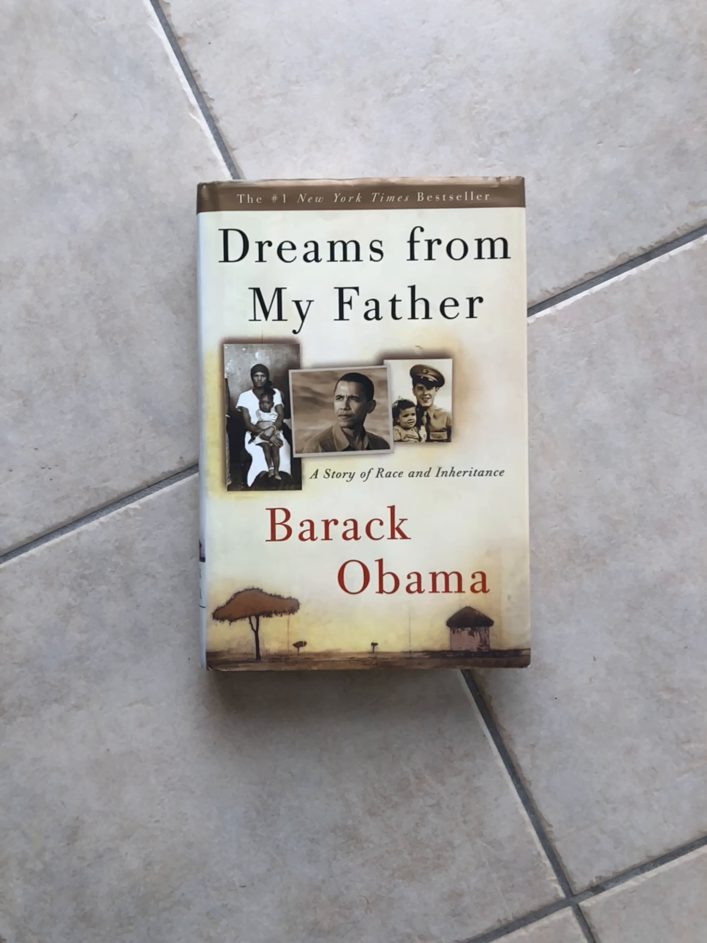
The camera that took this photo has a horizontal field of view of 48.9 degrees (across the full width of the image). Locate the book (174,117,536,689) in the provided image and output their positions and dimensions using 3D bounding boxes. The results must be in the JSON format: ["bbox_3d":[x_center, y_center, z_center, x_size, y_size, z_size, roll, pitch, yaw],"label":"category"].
[{"bbox_3d":[0.001,-0.033,0.394,0.170,0.050,0.270,0,91,1],"label":"book"}]
